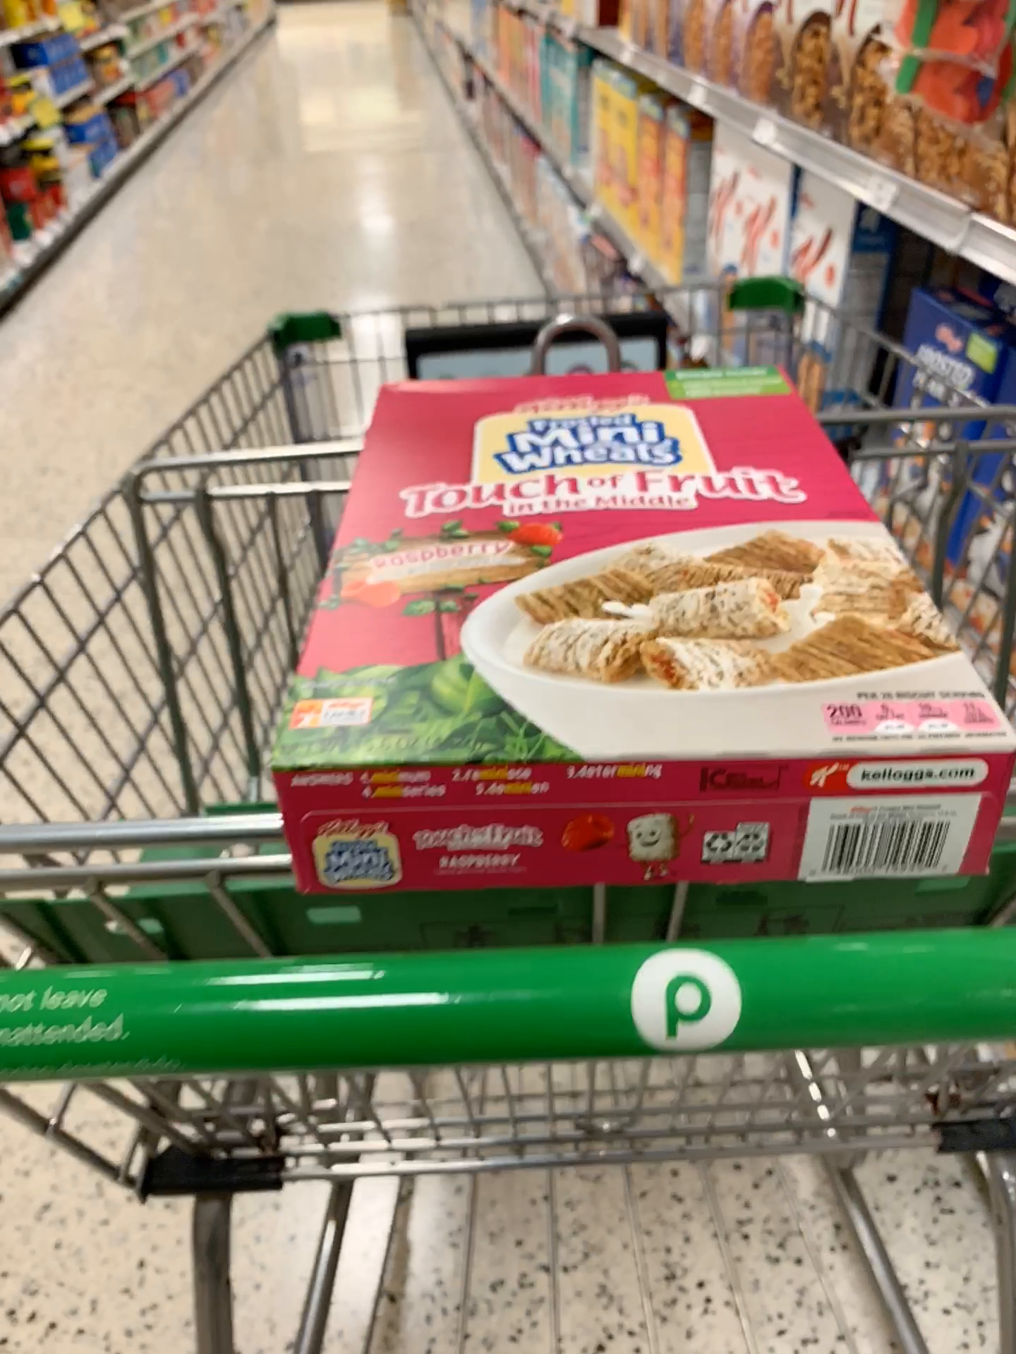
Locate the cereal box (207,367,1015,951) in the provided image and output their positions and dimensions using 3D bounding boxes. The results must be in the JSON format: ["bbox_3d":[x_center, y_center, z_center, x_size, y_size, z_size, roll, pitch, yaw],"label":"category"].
[{"bbox_3d":[0.028,-0.035,0.386,0.200,0.049,0.293,-2,35,1],"label":"cereal box"}]
